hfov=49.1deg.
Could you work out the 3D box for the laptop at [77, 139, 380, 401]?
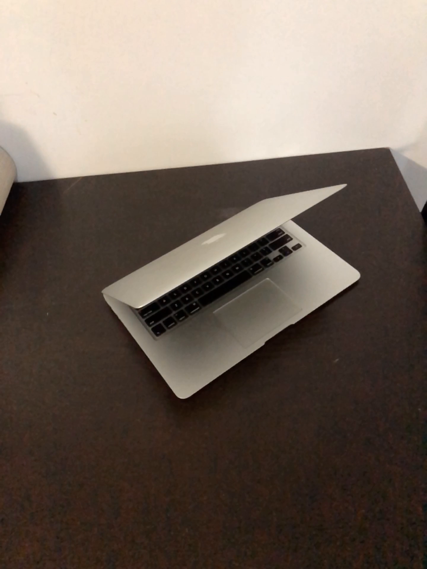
[{"bbox_3d":[0.022,-0.041,0.662,0.331,0.131,0.226,-31,52,-20],"label":"laptop"}]
